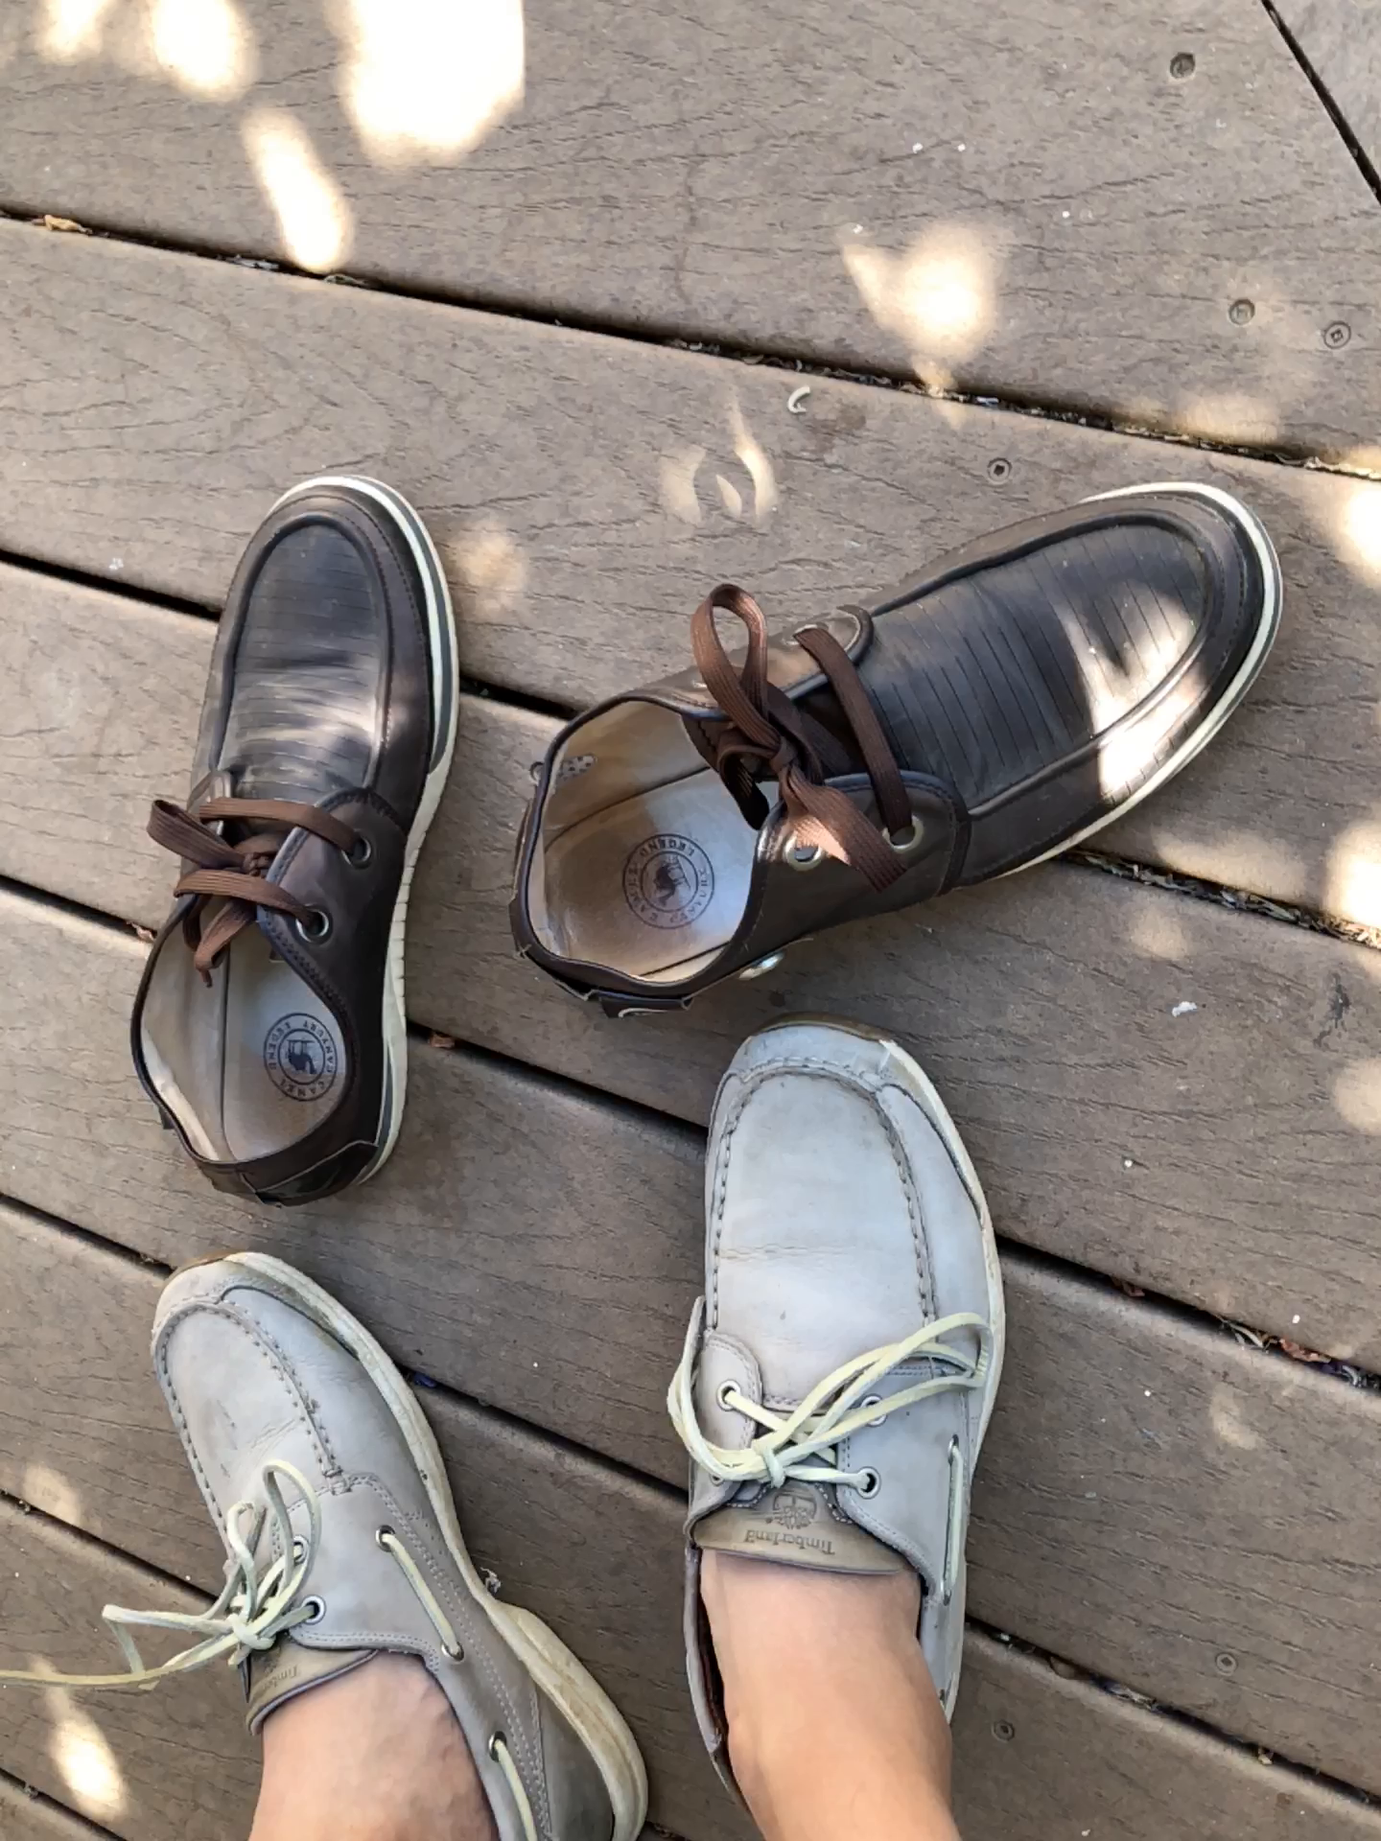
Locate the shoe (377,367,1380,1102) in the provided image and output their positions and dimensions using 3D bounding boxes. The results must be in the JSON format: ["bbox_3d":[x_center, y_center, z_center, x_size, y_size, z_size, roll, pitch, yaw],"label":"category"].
[{"bbox_3d":[0.052,-0.047,0.480,0.277,0.079,0.109,-23,88,21],"label":"shoe"}]

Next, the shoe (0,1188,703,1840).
[{"bbox_3d":[-0.132,0.262,0.571,0.109,0.086,0.292,-36,84,19],"label":"shoe"}]

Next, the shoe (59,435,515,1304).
[{"bbox_3d":[-0.147,-0.019,0.546,0.109,0.069,0.279,13,102,17],"label":"shoe"}]

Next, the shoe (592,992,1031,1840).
[{"bbox_3d":[0.046,0.177,0.503,0.109,0.101,0.293,-1,96,19],"label":"shoe"}]
